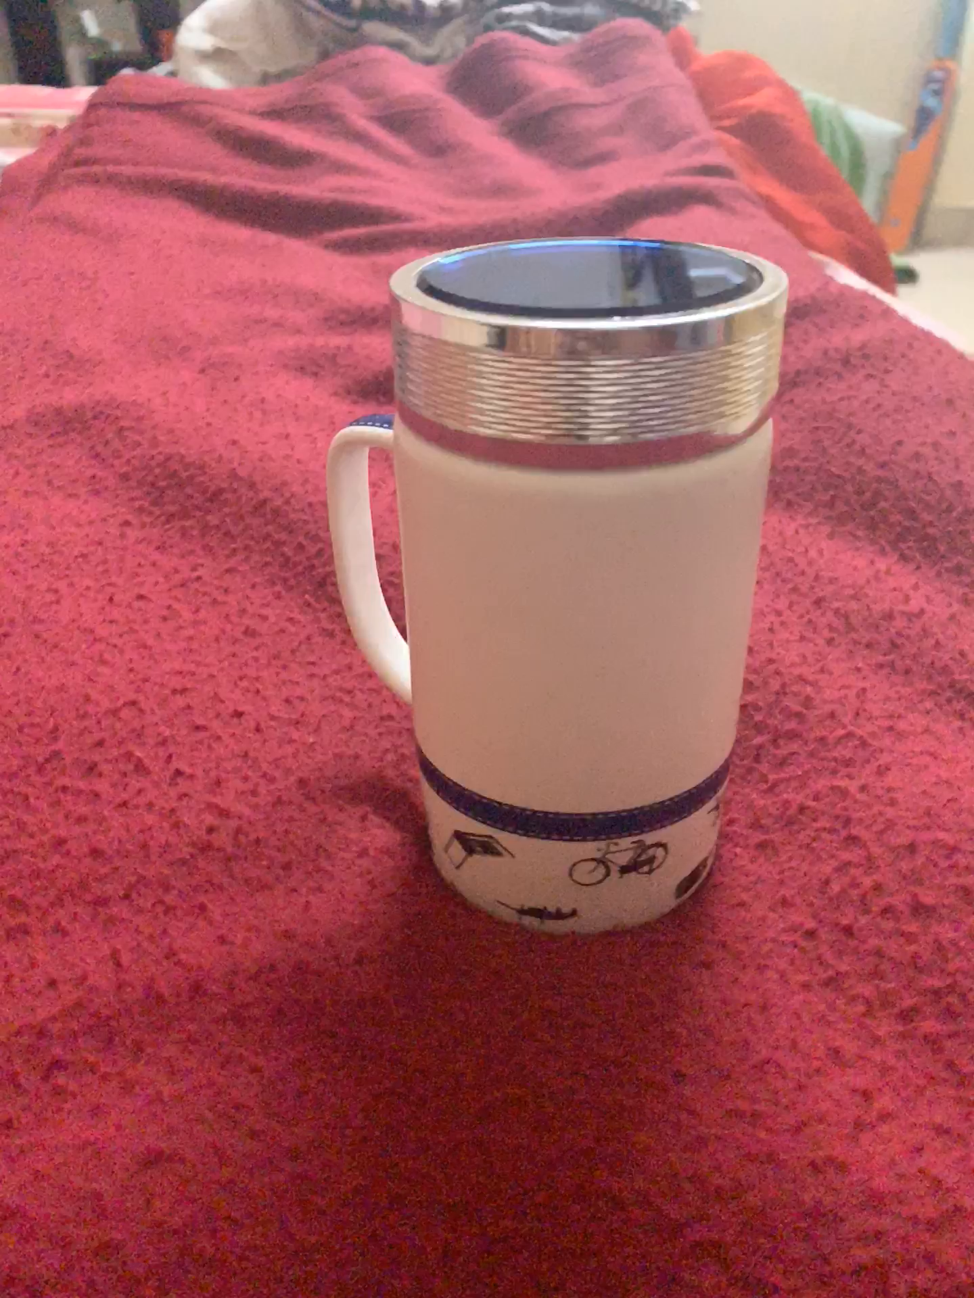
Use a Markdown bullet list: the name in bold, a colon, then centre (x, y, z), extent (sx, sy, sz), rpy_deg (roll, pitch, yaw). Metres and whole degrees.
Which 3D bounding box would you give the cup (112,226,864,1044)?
- **cup**: centre (0.003, -0.013, 0.236), extent (0.120, 0.139, 0.091), rpy_deg (18, 36, 28)
